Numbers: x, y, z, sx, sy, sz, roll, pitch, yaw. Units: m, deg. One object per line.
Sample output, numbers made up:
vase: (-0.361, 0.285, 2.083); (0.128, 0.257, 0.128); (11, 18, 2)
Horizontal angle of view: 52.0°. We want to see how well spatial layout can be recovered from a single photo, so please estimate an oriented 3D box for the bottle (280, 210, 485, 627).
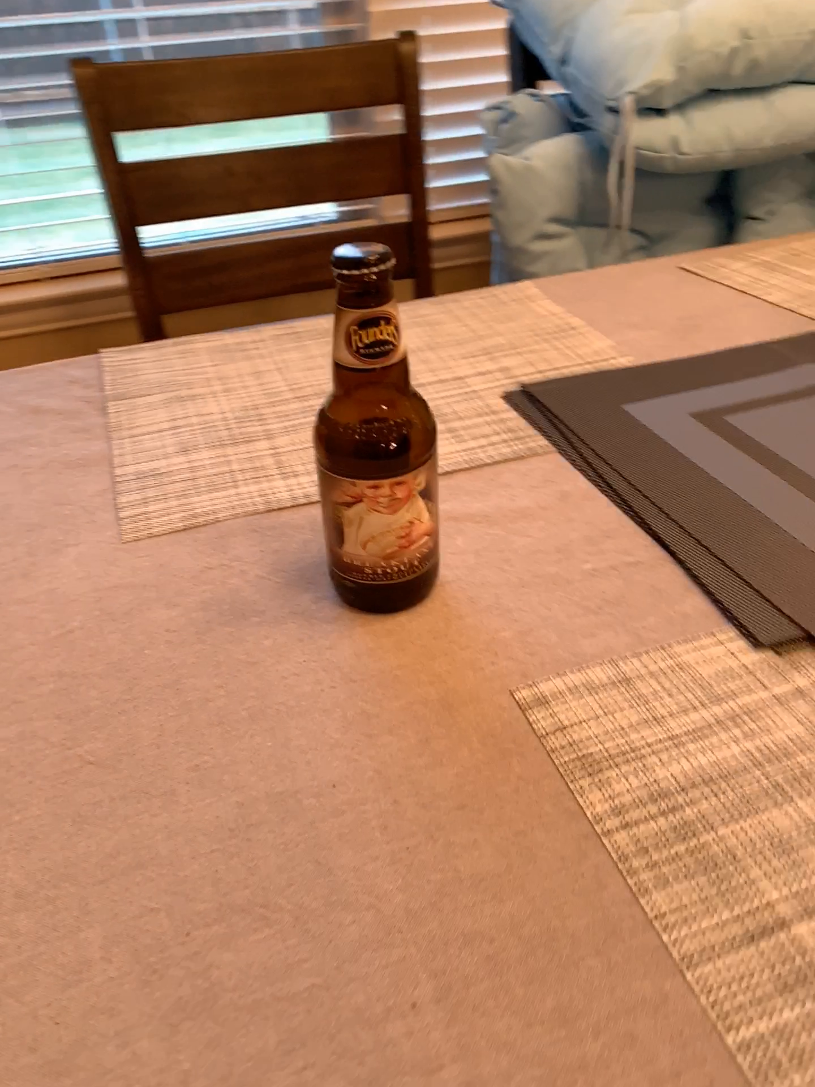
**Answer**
bottle: (-0.010, -0.061, 0.435); (0.080, 0.189, 0.080); (-2, 35, 2)
